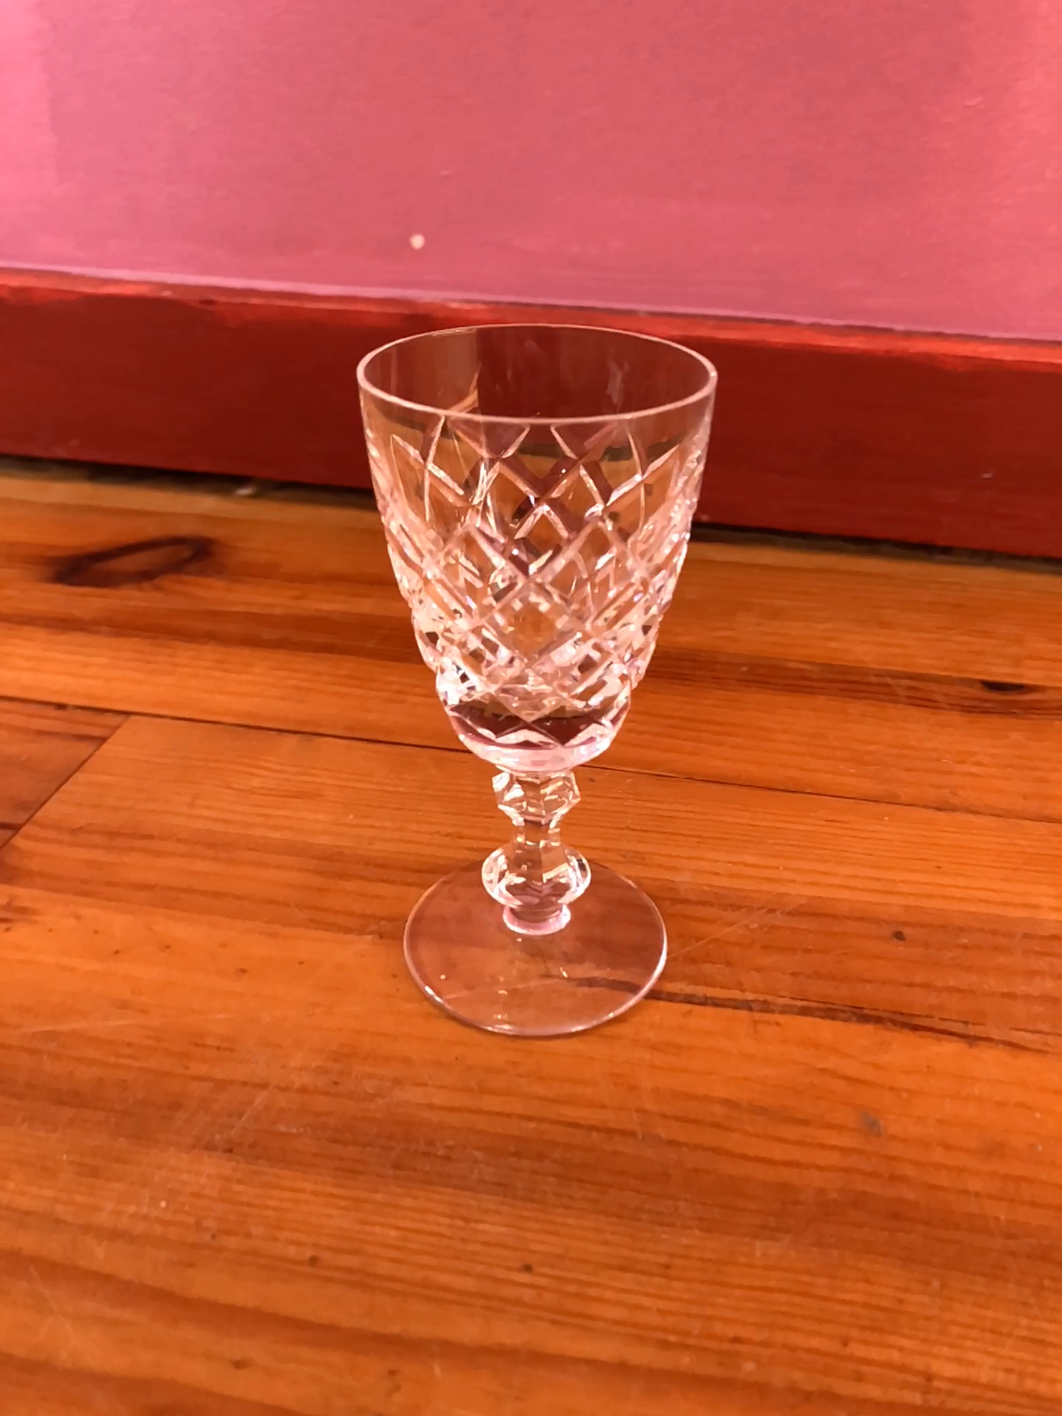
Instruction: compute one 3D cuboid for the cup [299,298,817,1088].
[{"bbox_3d":[0.002,-0.005,0.206,0.056,0.113,0.059,0,29,0],"label":"cup"}]
